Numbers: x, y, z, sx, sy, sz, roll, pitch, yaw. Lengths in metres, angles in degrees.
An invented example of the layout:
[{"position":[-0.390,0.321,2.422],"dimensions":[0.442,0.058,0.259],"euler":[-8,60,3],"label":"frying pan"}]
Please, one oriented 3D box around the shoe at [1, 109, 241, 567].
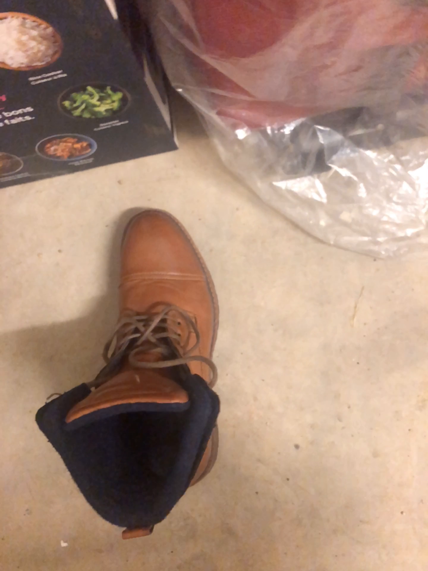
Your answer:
[{"position":[-0.066,0.042,0.430],"dimensions":[0.132,0.202,0.303],"euler":[-8,82,5],"label":"shoe"}]
